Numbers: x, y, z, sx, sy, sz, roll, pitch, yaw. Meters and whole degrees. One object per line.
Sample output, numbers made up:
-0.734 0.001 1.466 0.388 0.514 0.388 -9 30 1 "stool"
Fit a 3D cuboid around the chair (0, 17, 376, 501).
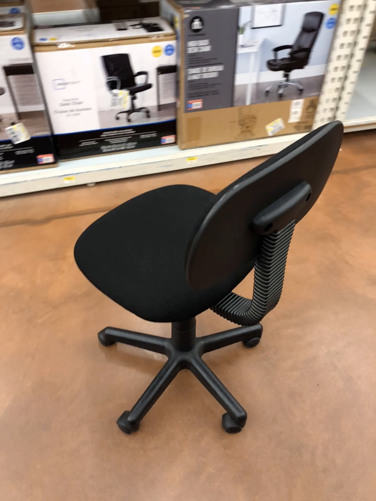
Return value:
-0.072 0.028 0.982 0.671 0.797 0.661 -34 53 -30 "chair"
